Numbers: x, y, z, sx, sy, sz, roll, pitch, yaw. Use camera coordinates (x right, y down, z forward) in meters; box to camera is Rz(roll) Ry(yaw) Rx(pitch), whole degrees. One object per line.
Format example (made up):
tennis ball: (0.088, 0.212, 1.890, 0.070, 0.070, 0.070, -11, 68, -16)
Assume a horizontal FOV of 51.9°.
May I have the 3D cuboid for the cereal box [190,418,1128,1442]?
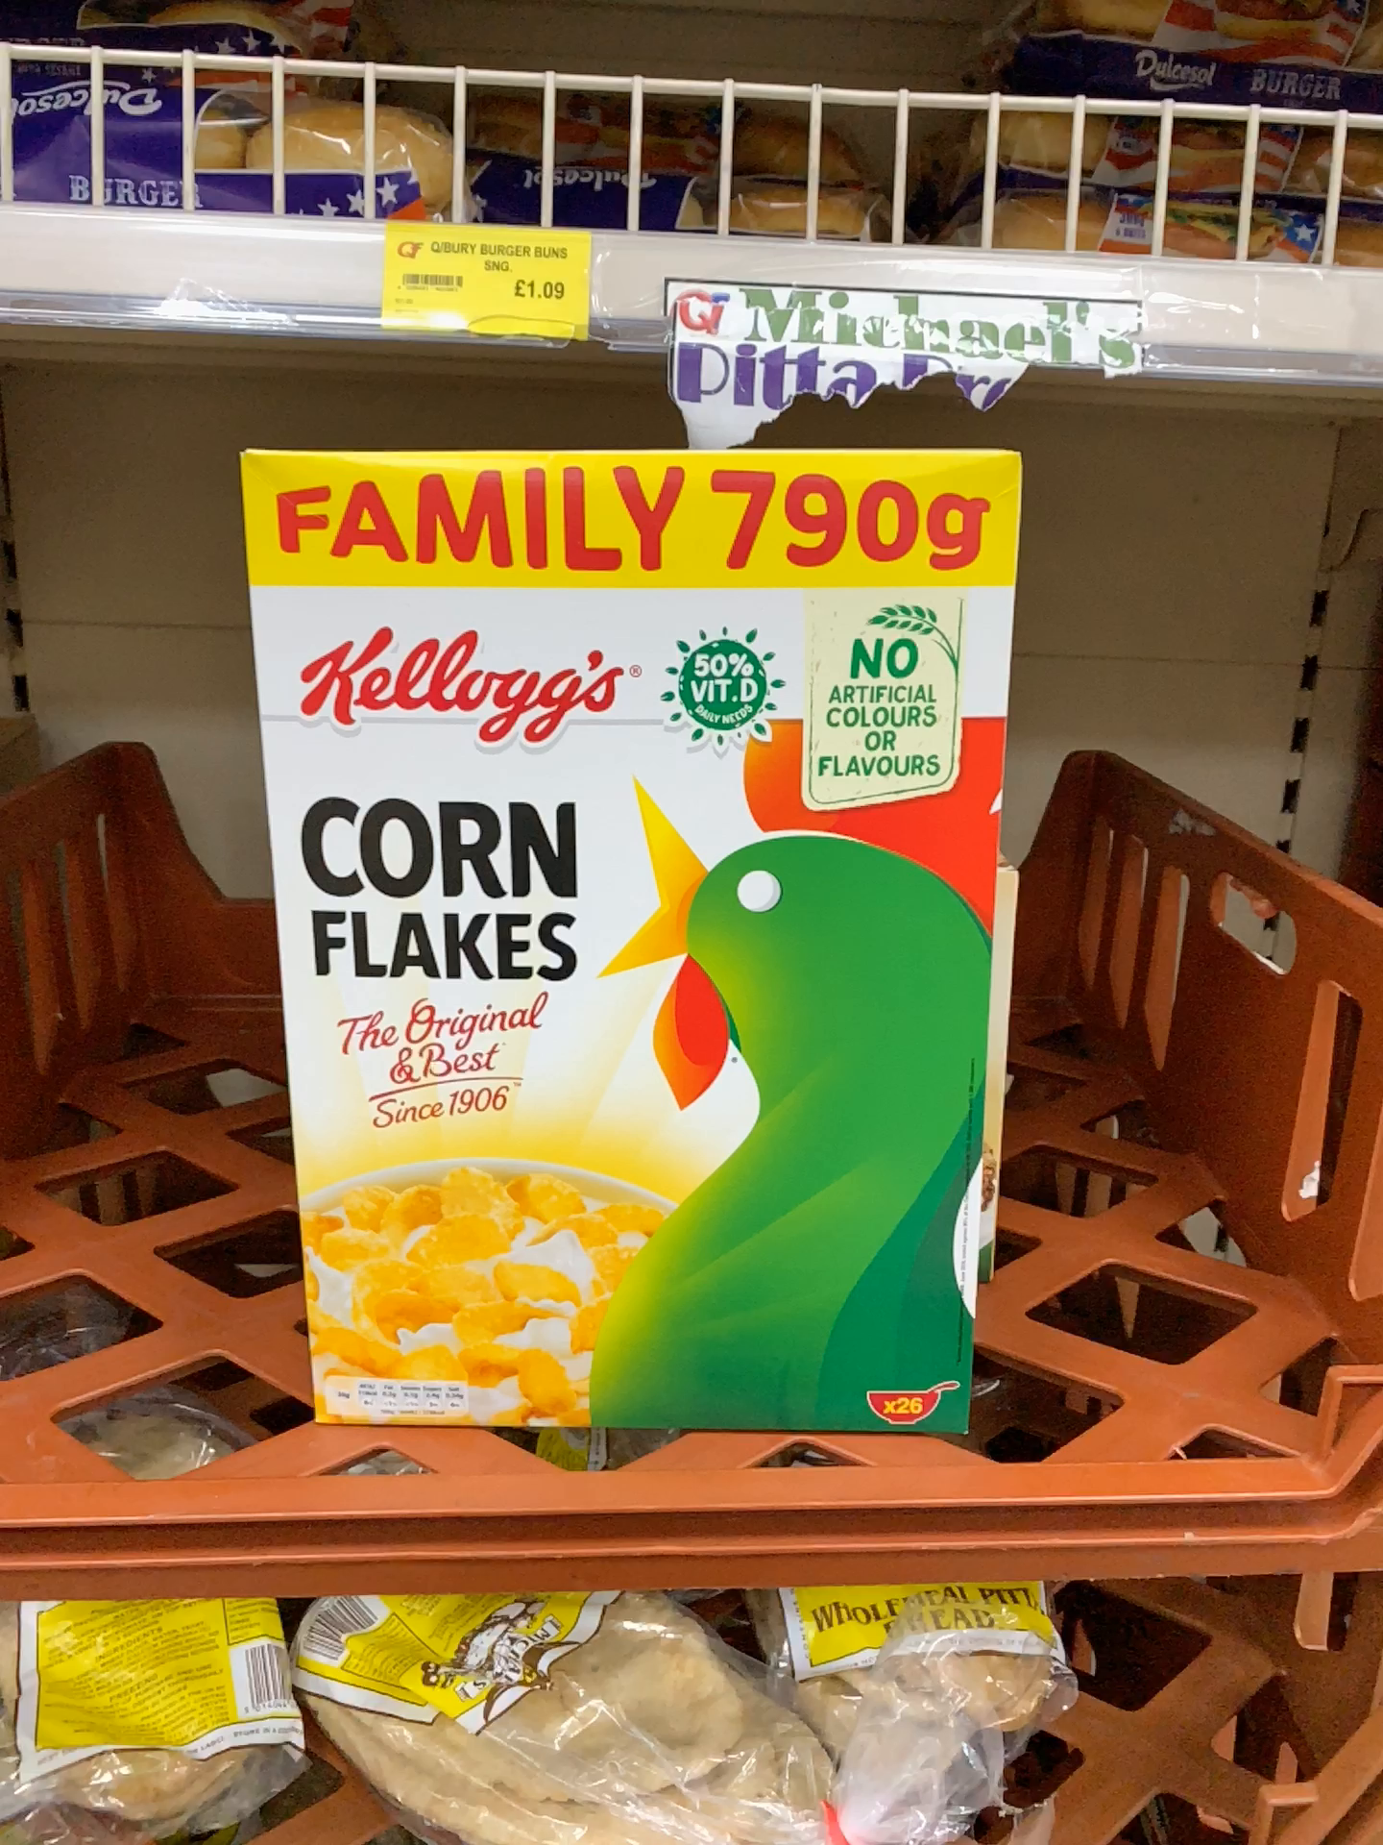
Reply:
cereal box: (-0.012, 0.006, 0.500, 0.270, 0.338, 0.091, 1, 16, 0)
